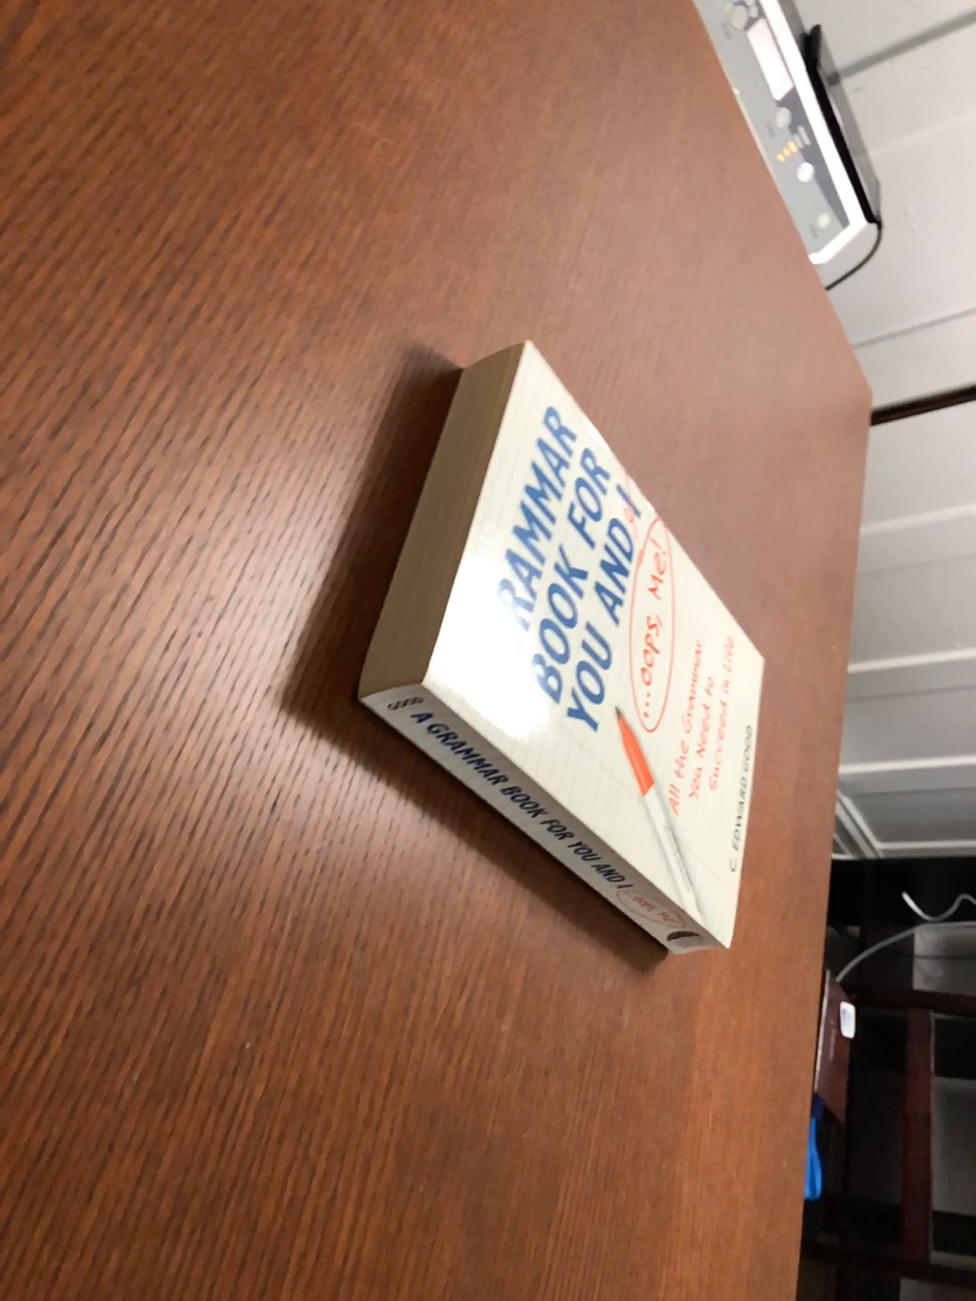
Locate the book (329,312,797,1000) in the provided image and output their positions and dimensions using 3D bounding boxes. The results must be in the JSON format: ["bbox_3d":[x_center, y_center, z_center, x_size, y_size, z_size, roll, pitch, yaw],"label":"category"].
[{"bbox_3d":[0.054,0.015,0.436,0.241,0.040,0.171,45,49,-39],"label":"book"}]
